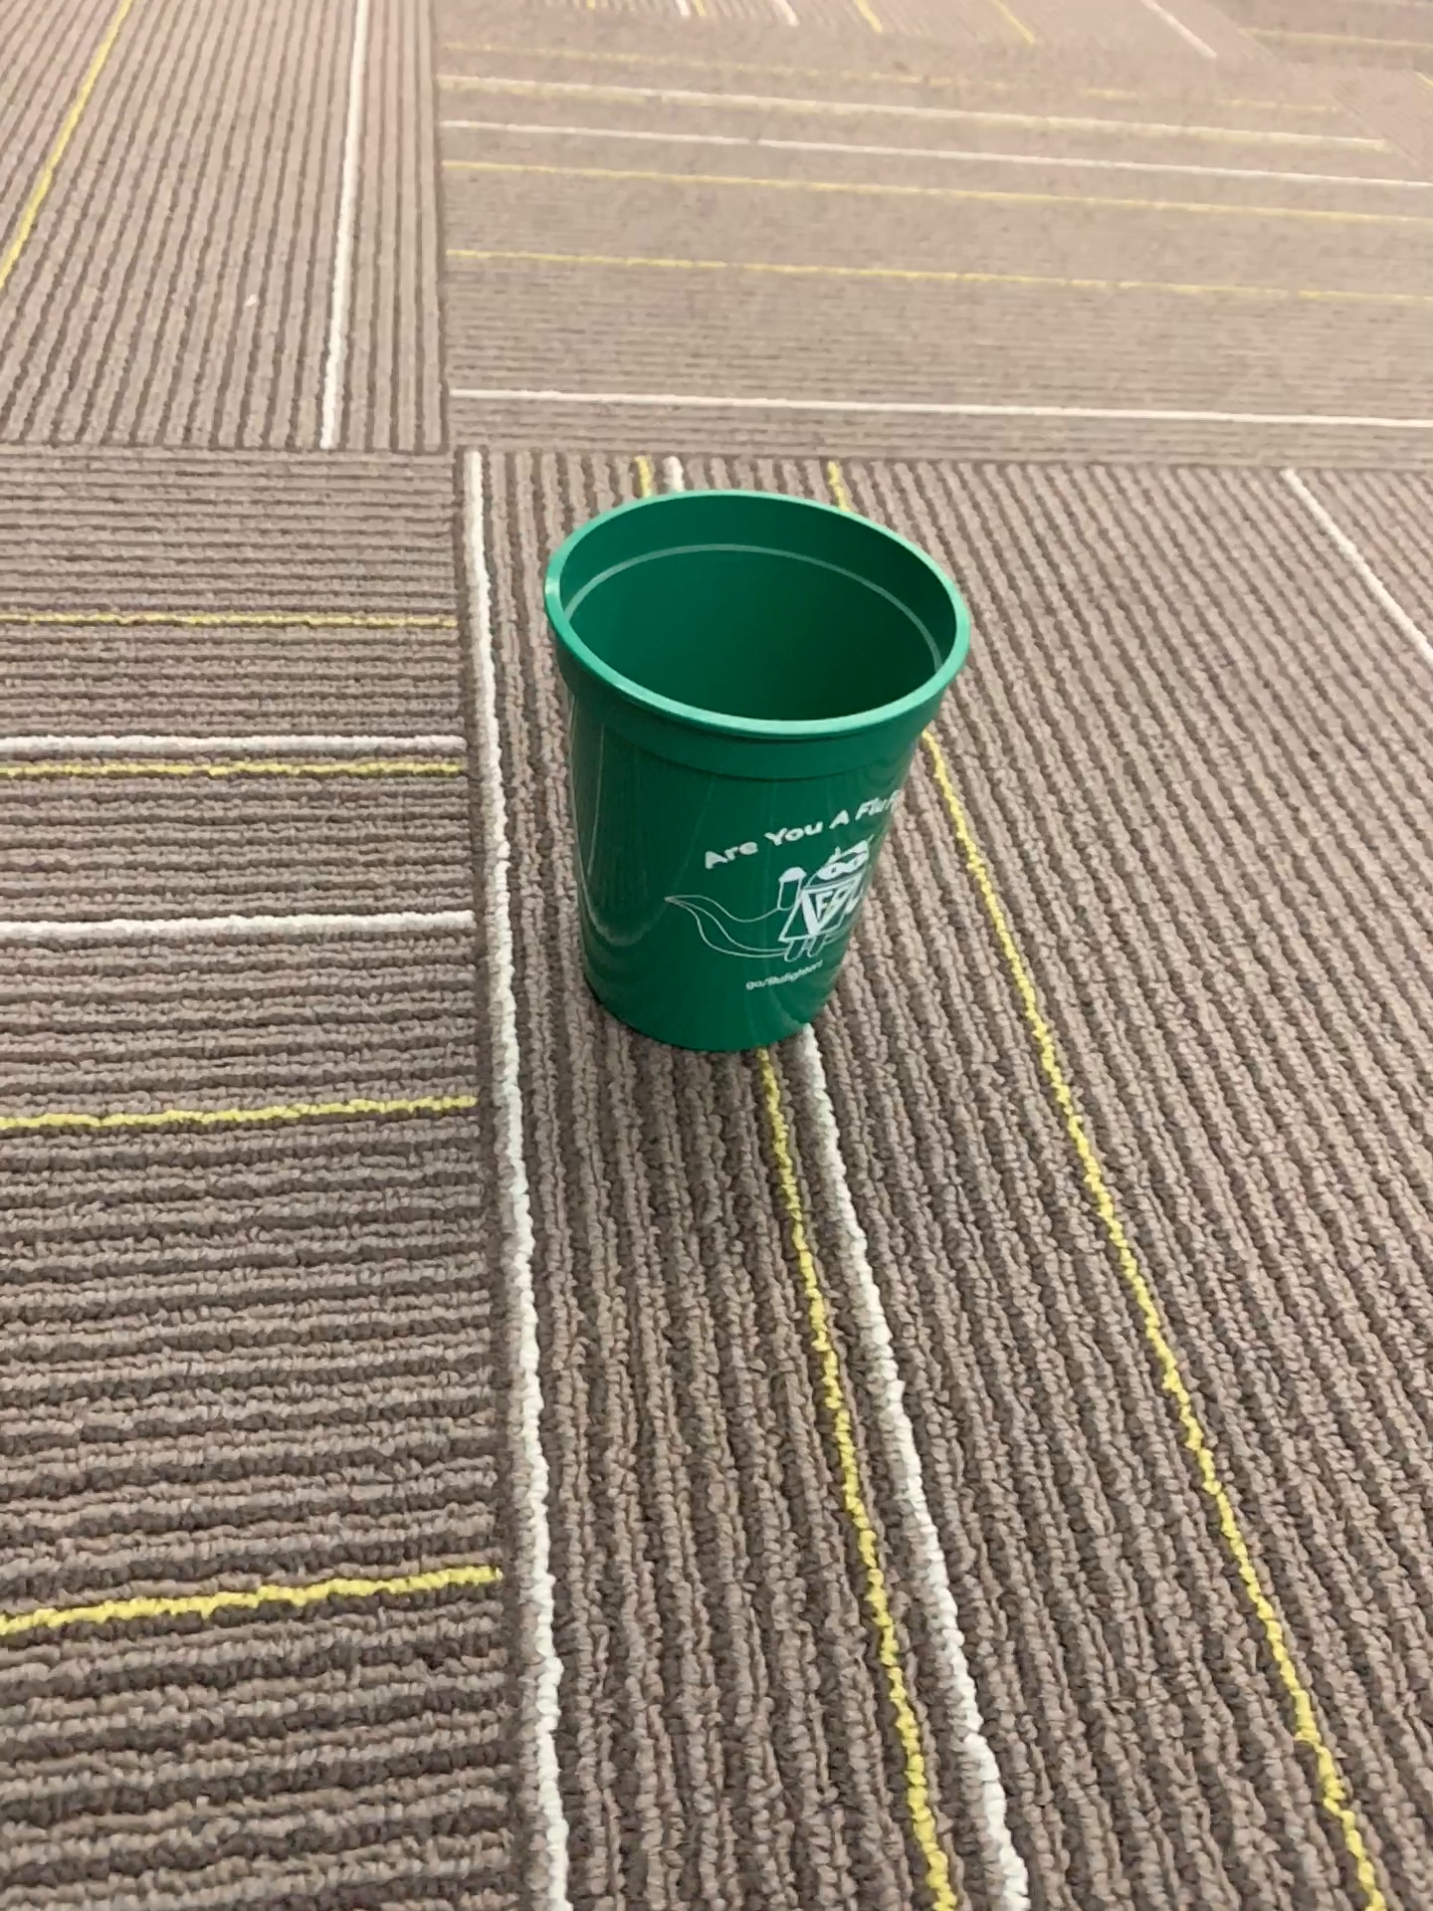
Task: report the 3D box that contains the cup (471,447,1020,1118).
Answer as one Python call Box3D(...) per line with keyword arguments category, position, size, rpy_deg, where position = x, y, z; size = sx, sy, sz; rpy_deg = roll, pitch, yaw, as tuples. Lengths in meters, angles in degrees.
Box3D(category="cup", position=(0.000, -0.041, 0.360), size=(0.090, 0.119, 0.080), rpy_deg=(-18, 51, -23))
